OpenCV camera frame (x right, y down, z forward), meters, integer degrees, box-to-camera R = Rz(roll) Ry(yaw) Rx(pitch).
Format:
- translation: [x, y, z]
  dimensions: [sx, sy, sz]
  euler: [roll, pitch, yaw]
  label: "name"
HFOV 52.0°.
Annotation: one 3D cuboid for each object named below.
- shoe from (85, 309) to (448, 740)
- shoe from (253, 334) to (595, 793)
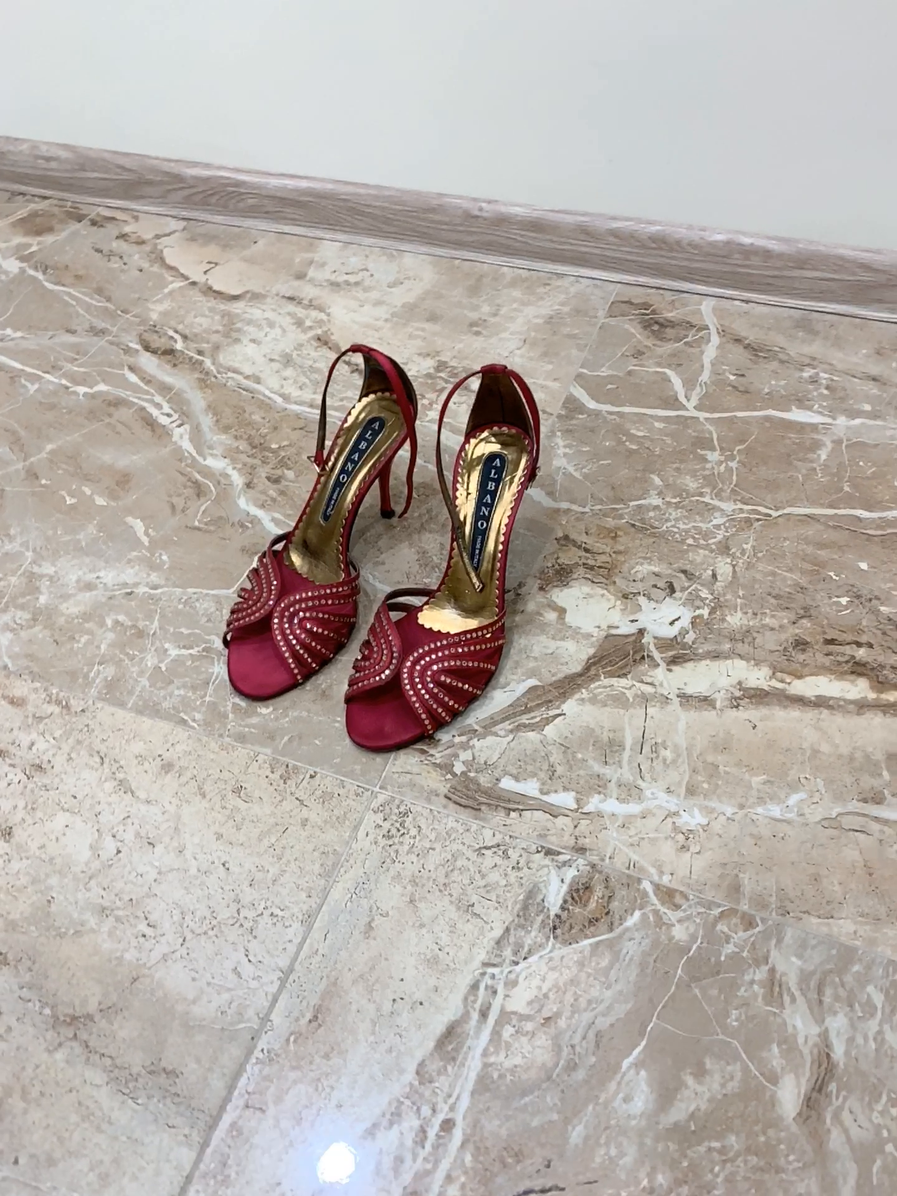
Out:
- translation: [-0.093, -0.053, 0.569]
  dimensions: [0.090, 0.129, 0.231]
  euler: [19, 53, 18]
  label: "shoe"
- translation: [-0.001, -0.028, 0.540]
  dimensions: [0.090, 0.129, 0.231]
  euler: [19, 53, 18]
  label: "shoe"
